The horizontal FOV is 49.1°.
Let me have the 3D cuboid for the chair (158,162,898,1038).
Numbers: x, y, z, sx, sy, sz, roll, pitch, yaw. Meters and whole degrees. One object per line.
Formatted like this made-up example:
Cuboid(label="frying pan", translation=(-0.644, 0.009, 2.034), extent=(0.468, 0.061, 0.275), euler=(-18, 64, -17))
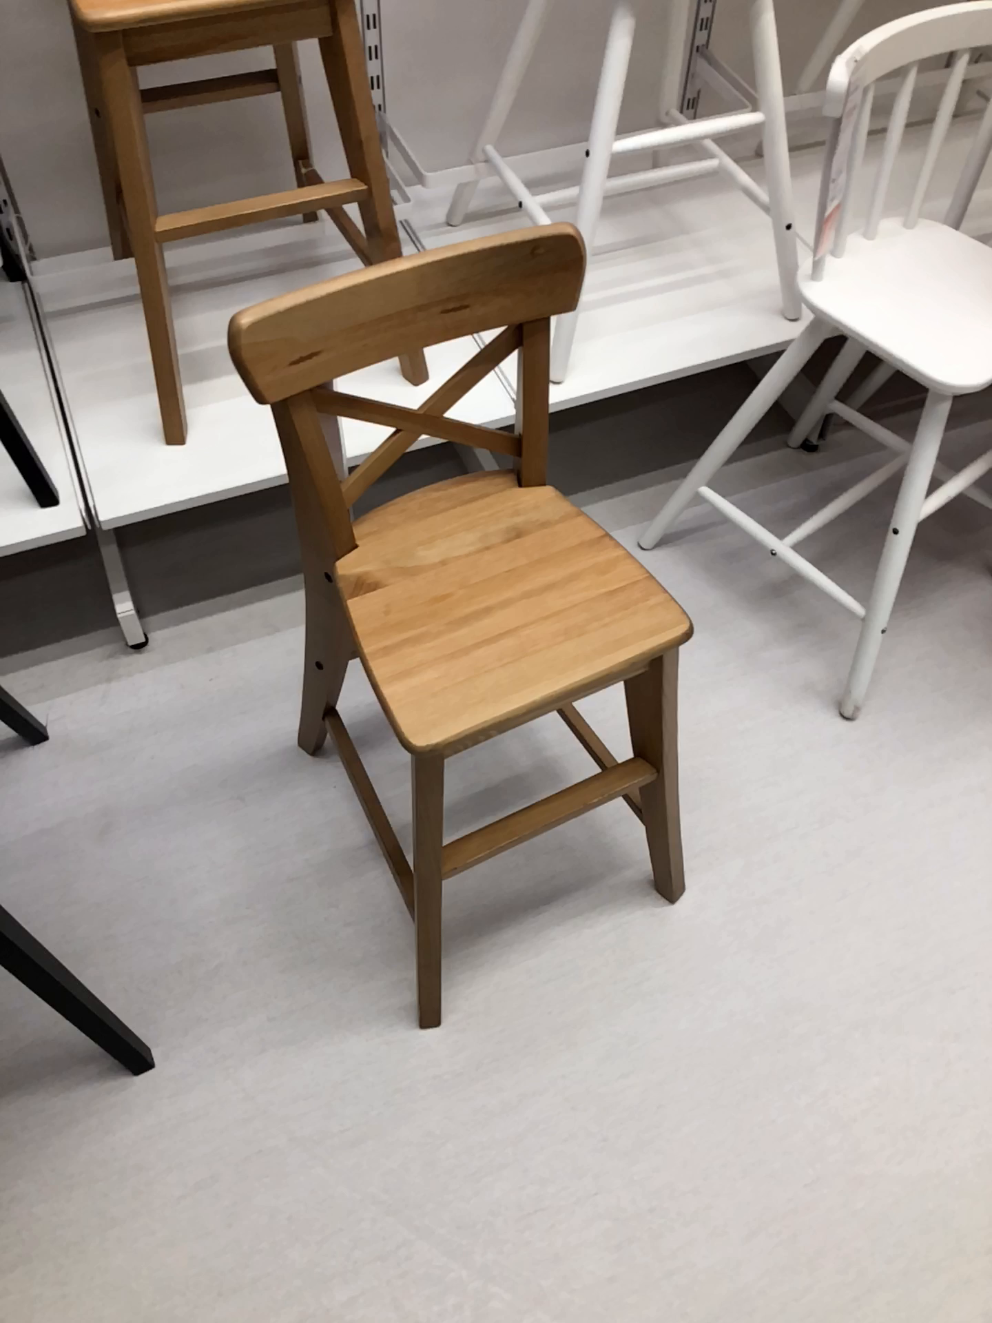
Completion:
Cuboid(label="chair", translation=(-0.004, -0.020, 1.070), extent=(0.390, 0.676, 0.432), euler=(-21, 57, -16))
